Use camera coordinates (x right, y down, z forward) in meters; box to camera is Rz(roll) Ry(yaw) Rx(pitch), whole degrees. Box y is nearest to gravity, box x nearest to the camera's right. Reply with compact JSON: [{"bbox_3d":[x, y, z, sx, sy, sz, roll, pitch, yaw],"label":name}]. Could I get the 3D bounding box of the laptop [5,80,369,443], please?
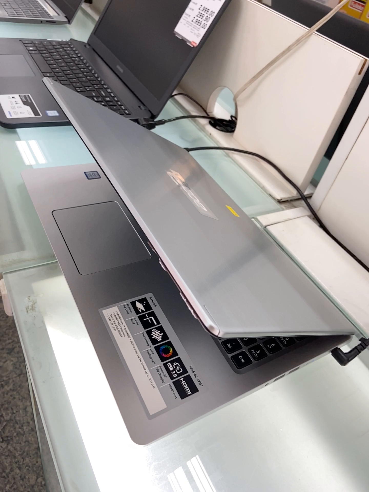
[{"bbox_3d":[-0.009,-0.043,0.404,0.246,0.116,0.365,-14,49,-29],"label":"laptop"}]
